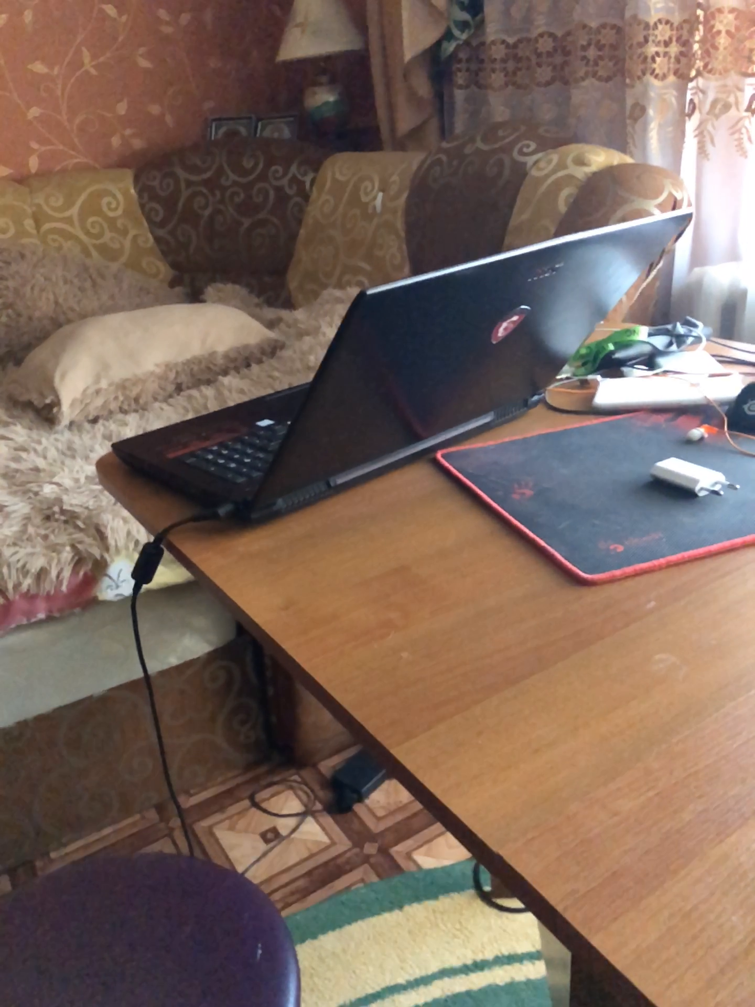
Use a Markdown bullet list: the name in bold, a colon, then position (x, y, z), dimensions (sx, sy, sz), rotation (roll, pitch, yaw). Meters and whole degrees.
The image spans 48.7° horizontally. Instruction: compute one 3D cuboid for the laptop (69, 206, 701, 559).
- **laptop**: position (-0.001, -0.154, 0.764), dimensions (0.374, 0.174, 0.410), rotation (-24, 30, -36)
